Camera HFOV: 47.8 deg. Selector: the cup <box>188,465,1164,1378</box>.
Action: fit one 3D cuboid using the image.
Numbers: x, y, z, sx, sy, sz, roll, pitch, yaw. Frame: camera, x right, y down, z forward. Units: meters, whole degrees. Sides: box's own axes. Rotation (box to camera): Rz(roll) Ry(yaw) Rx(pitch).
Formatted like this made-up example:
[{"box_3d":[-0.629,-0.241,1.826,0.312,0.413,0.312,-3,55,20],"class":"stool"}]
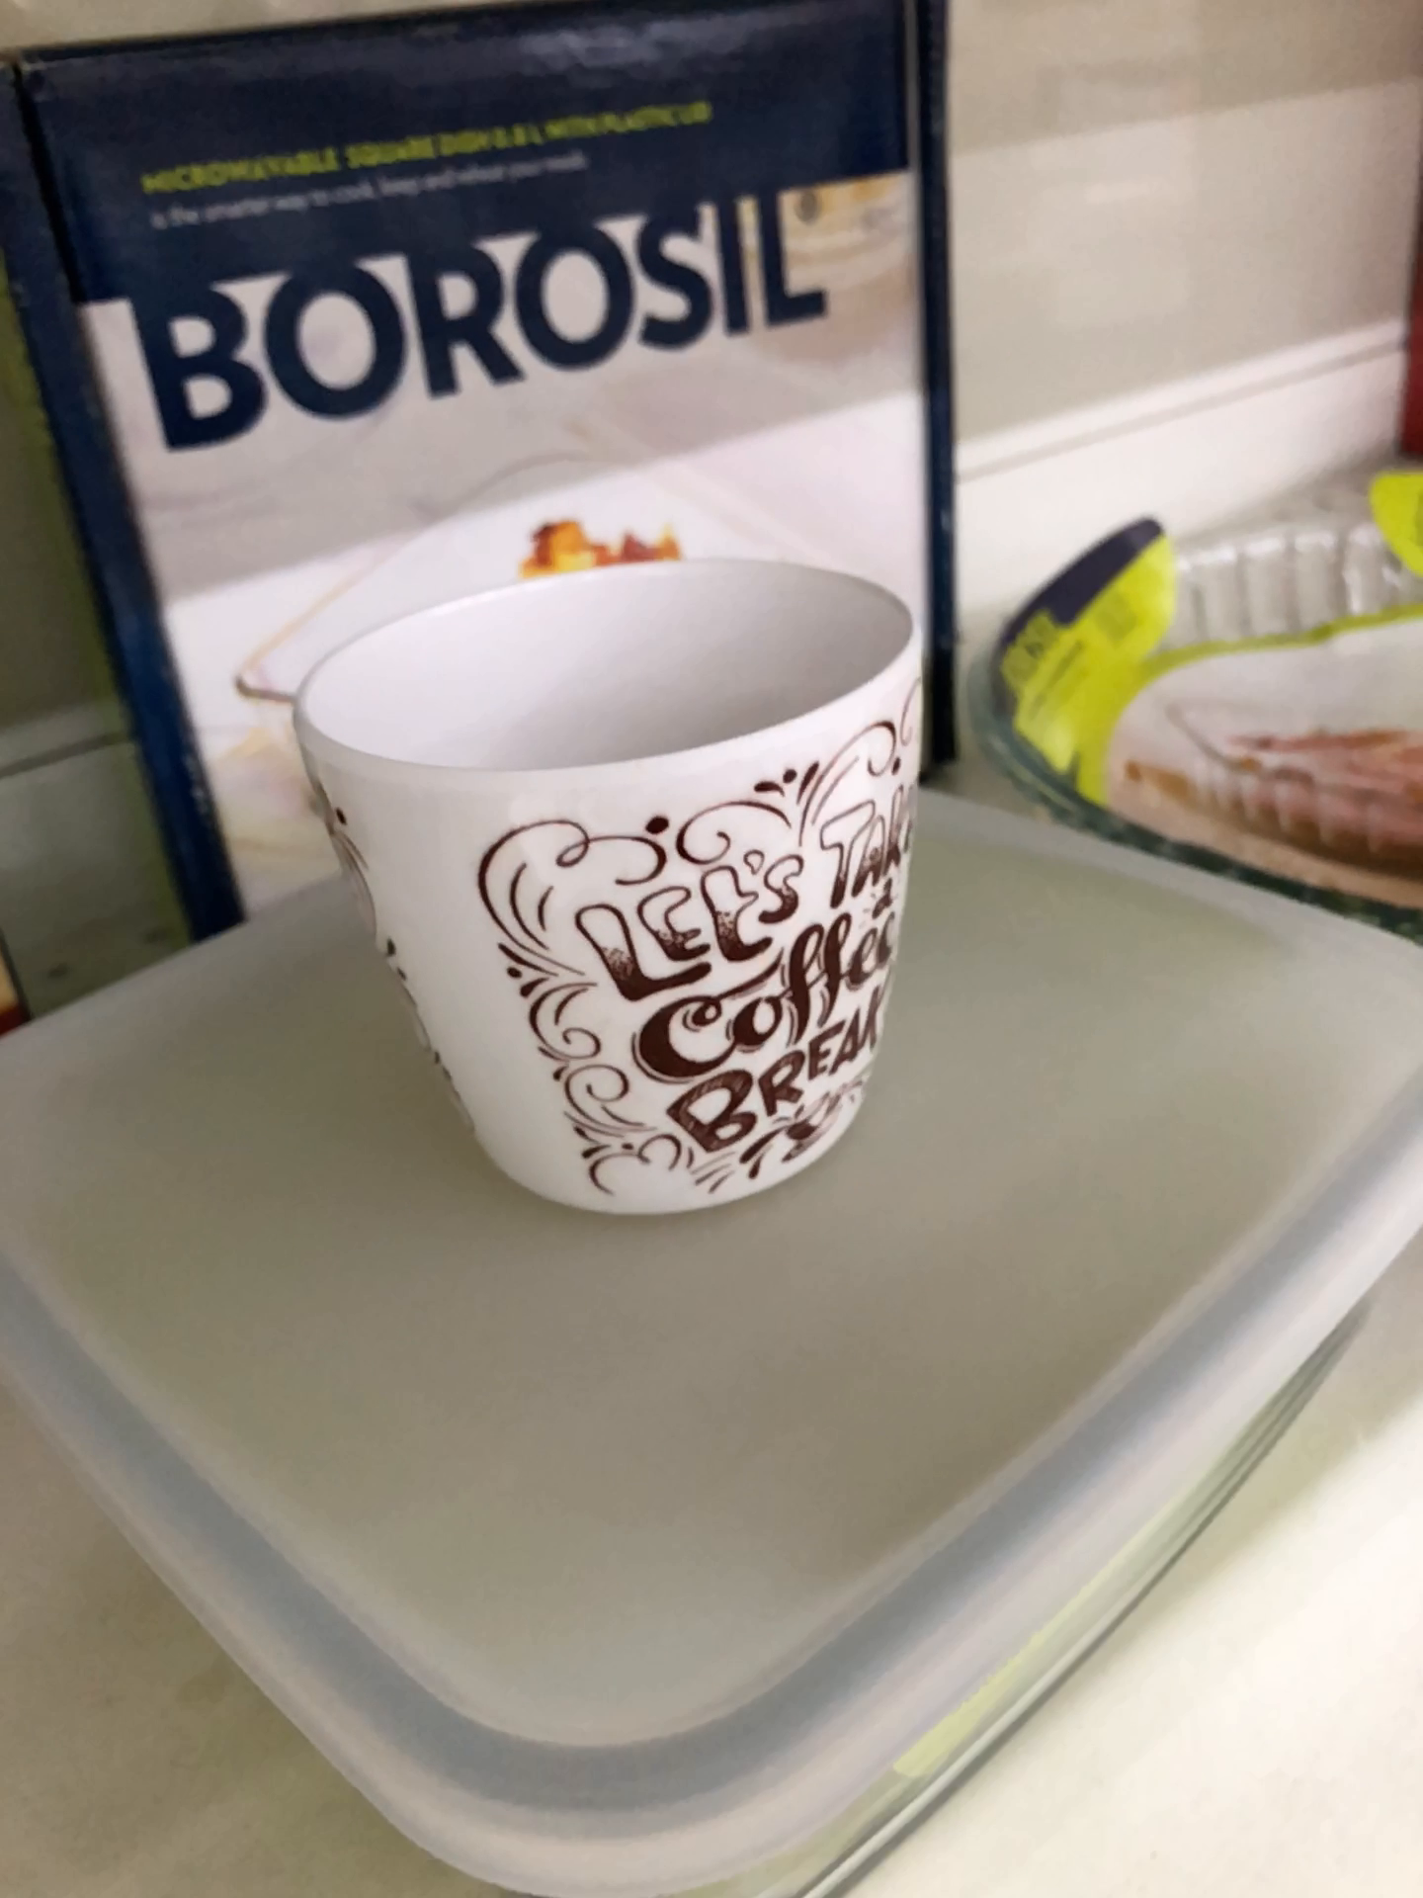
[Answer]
[{"box_3d":[0.003,-0.014,0.211,0.070,0.070,0.101,18,37,37],"class":"cup"}]
